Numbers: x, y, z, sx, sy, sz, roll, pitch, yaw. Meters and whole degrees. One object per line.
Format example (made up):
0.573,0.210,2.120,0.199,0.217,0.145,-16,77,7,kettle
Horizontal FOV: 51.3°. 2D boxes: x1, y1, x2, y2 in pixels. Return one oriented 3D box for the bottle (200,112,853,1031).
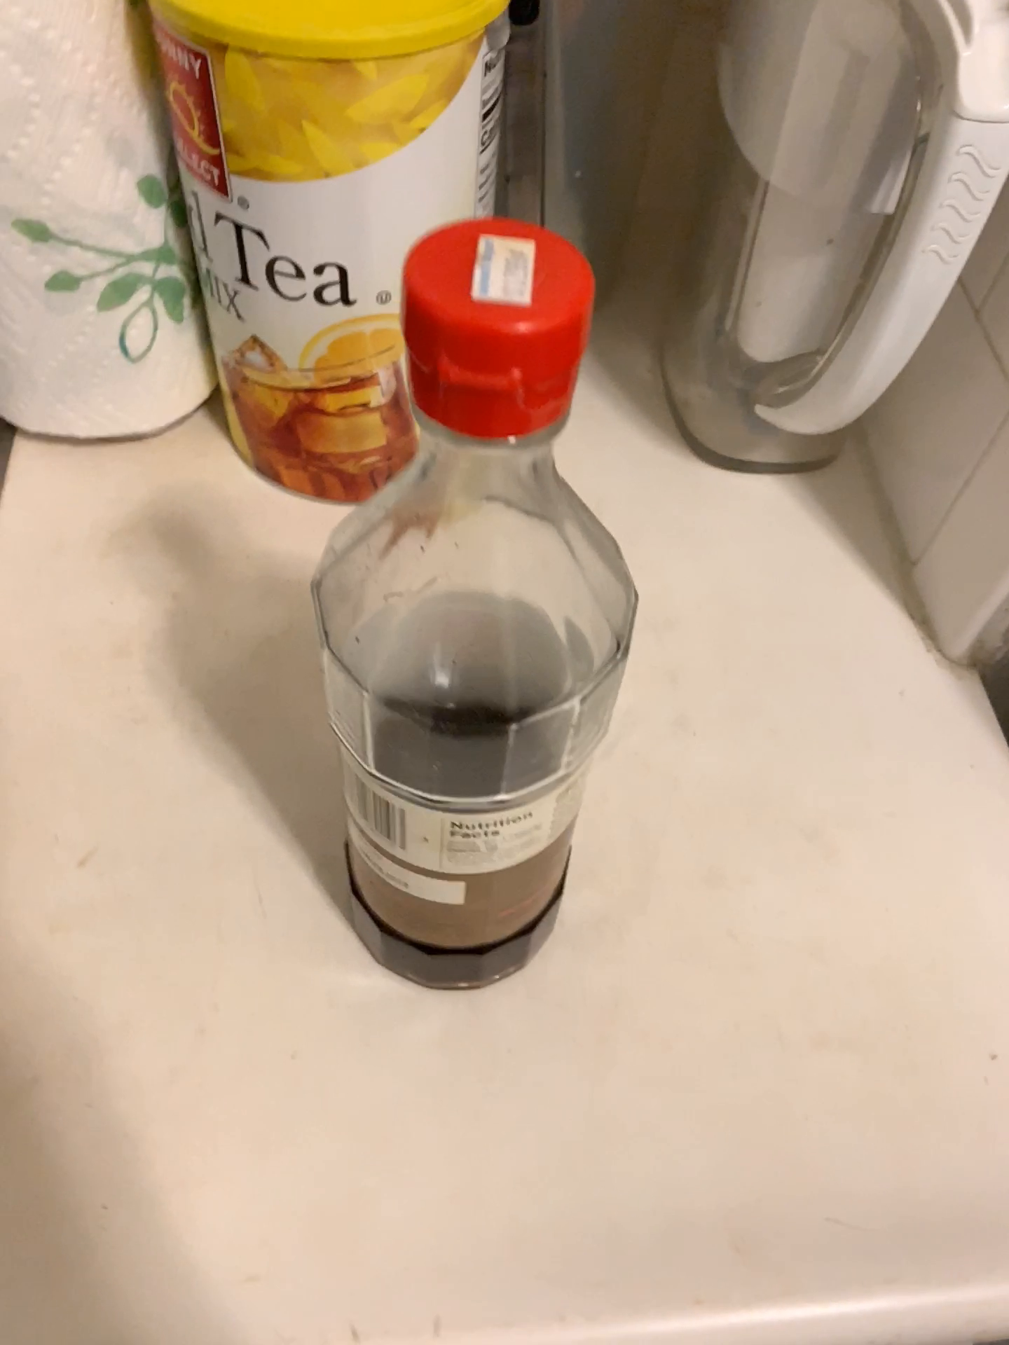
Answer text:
-0.012,0.005,0.282,0.090,0.259,0.090,3,55,-4,bottle
